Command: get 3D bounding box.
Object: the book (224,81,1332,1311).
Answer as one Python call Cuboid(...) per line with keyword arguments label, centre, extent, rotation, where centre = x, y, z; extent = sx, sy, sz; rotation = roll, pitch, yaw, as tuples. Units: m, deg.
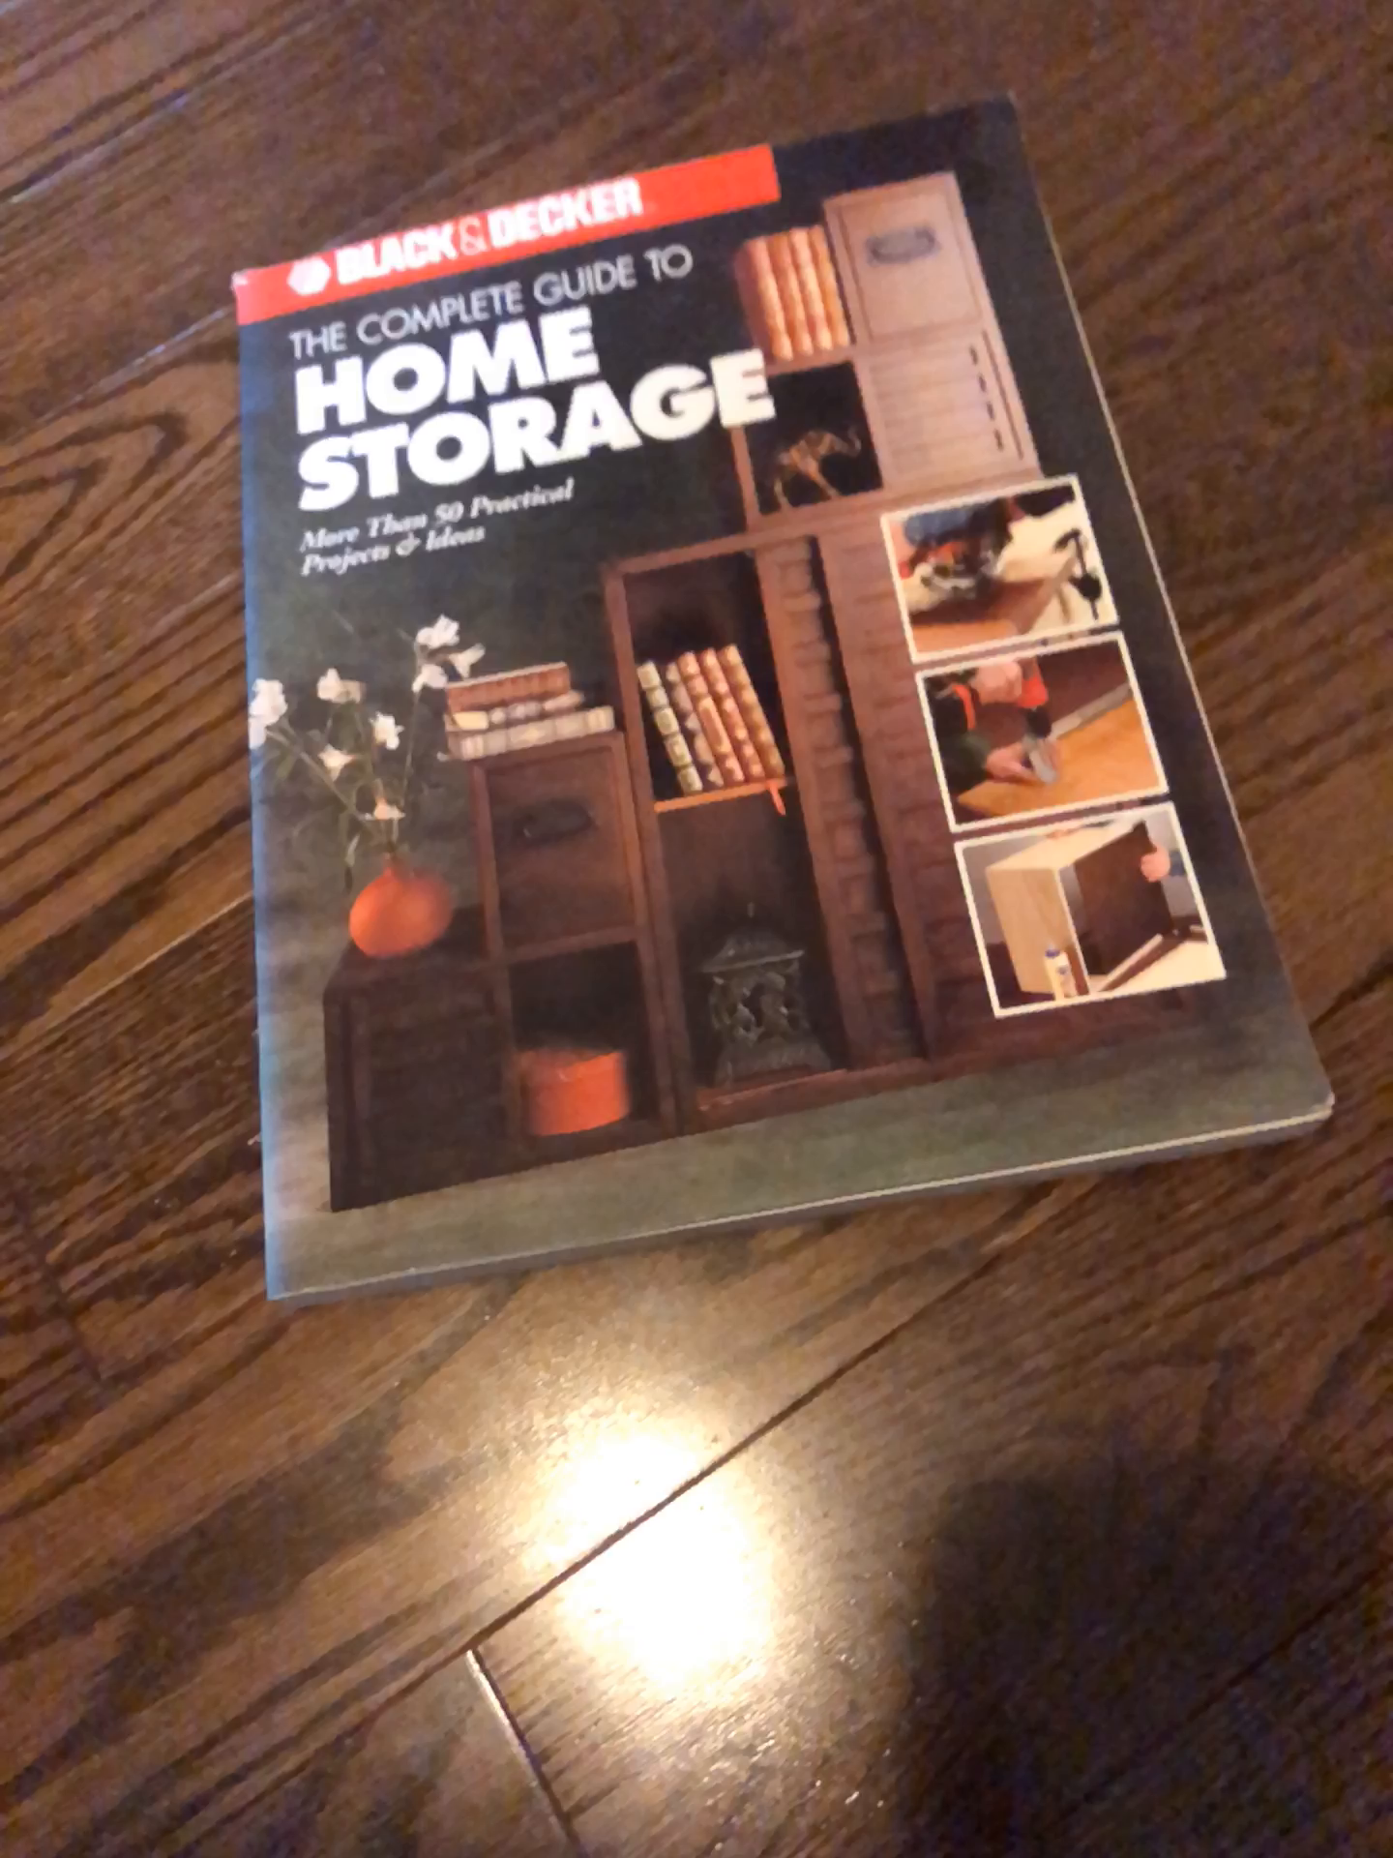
Cuboid(label="book", centre=(-0.002, -0.072, 0.374), extent=(0.215, 0.020, 0.287), rotation=(-11, 67, 3))
